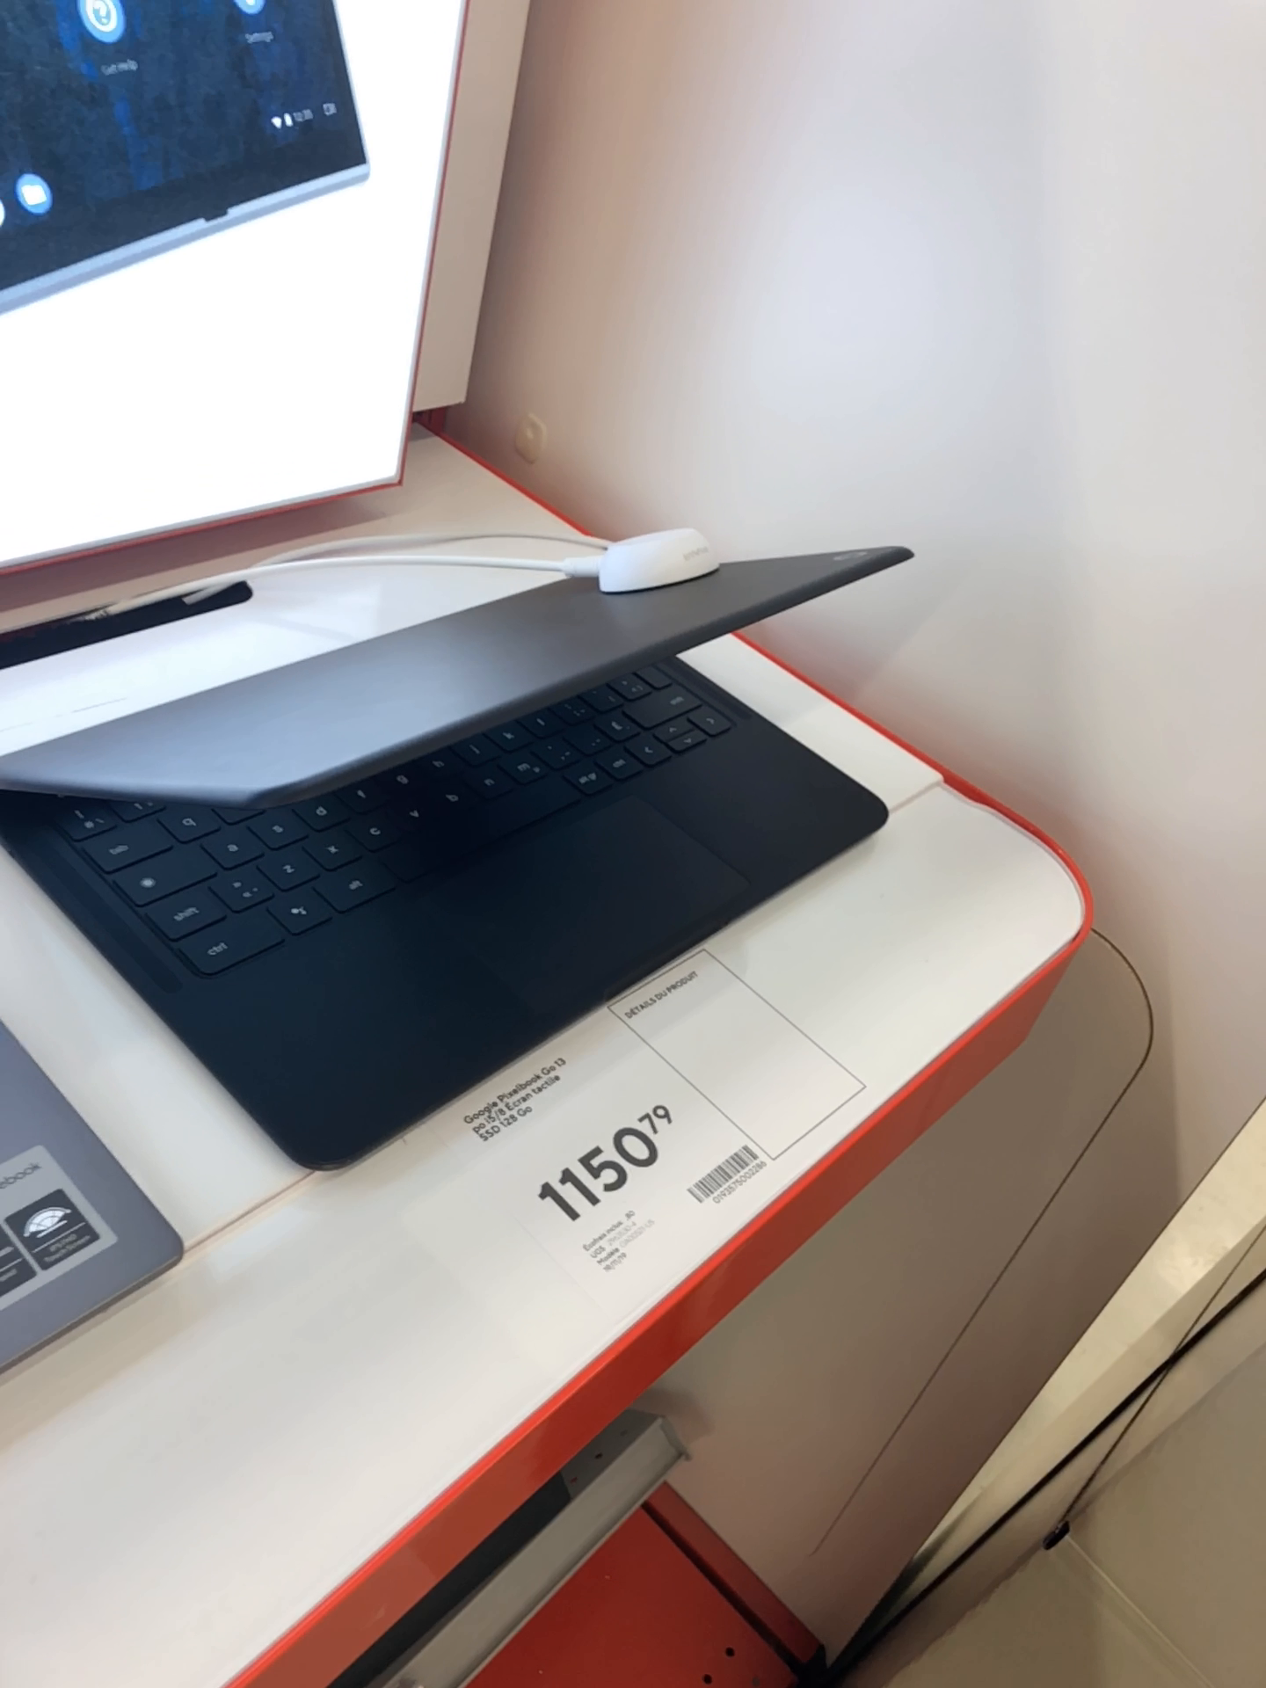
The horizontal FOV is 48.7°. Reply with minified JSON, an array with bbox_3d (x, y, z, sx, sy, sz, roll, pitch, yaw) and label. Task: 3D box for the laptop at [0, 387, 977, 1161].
[{"bbox_3d":[-0.049,-0.056,0.511,0.199,0.106,0.299,37,42,25],"label":"laptop"}]
